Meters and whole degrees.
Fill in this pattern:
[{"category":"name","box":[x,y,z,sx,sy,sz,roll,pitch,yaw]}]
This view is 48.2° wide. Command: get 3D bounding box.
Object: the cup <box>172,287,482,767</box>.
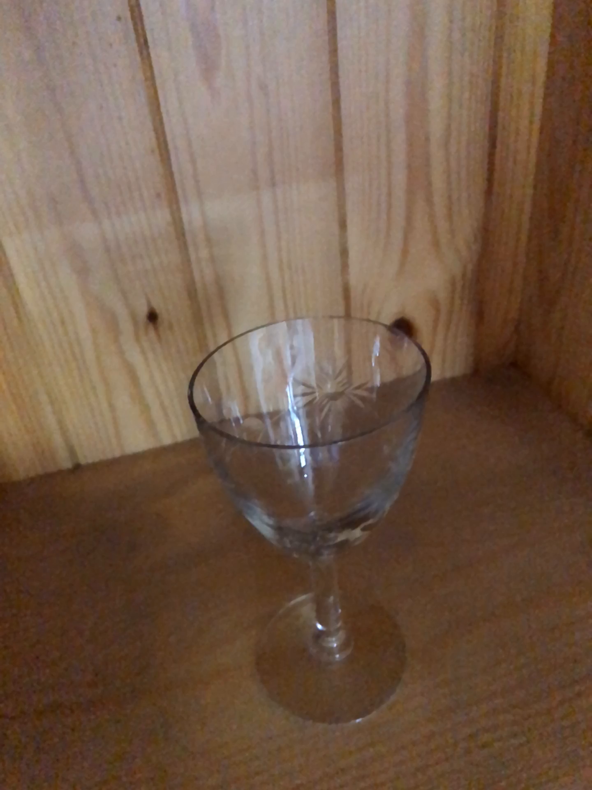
[{"category":"cup","box":[0.011,0.047,0.217,0.070,0.139,0.070,-4,35,3]}]
